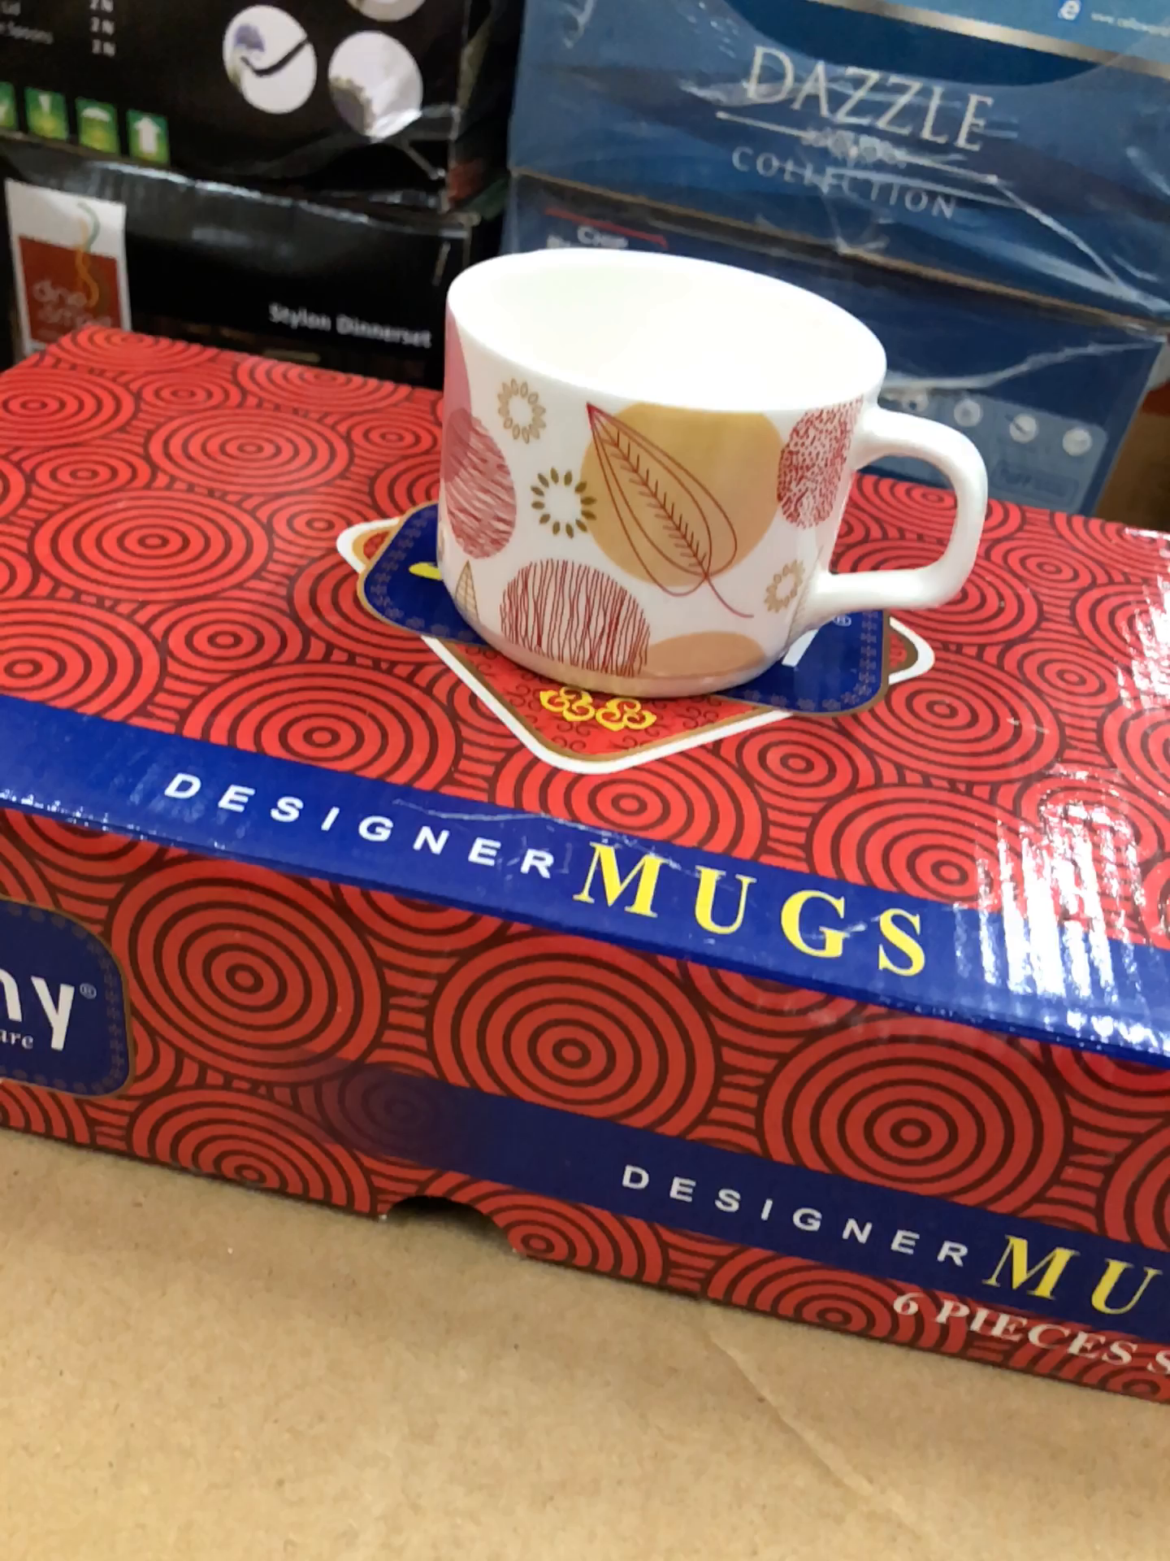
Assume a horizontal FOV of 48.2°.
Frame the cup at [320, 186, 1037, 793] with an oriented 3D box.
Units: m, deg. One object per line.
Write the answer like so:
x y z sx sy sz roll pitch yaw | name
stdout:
0.016 -0.050 0.204 0.090 0.050 0.071 16 36 7 | cup
